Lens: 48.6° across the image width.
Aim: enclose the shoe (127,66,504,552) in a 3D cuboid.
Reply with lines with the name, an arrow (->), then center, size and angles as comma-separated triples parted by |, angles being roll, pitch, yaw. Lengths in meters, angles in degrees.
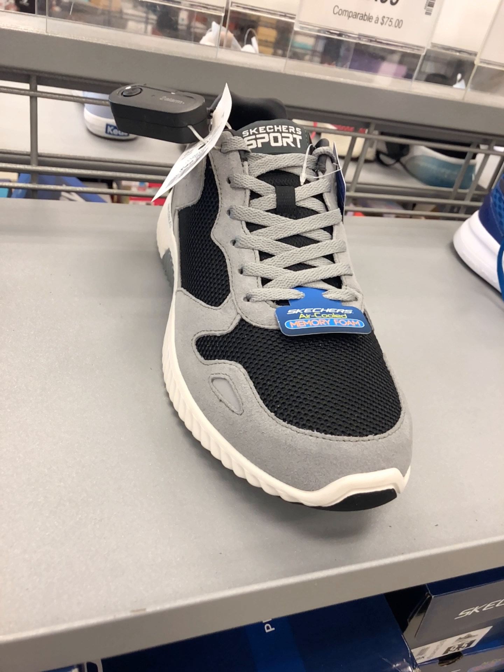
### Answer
shoe -> 0.003, -0.050, 0.326 | 0.120, 0.119, 0.302 | 2, 36, -18
